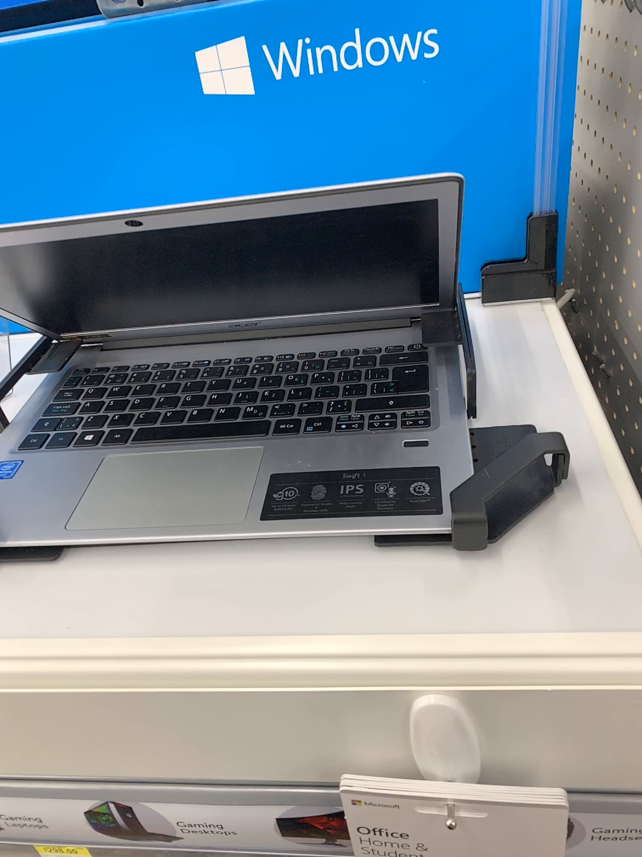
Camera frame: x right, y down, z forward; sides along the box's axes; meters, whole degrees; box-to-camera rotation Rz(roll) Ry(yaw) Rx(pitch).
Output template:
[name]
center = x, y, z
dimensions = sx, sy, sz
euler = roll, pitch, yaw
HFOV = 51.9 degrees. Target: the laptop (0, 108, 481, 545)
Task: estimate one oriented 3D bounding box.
[laptop]
center = -0.076, -0.065, 0.379
dimensions = 0.305, 0.141, 0.214
euler = -3, 36, 10
